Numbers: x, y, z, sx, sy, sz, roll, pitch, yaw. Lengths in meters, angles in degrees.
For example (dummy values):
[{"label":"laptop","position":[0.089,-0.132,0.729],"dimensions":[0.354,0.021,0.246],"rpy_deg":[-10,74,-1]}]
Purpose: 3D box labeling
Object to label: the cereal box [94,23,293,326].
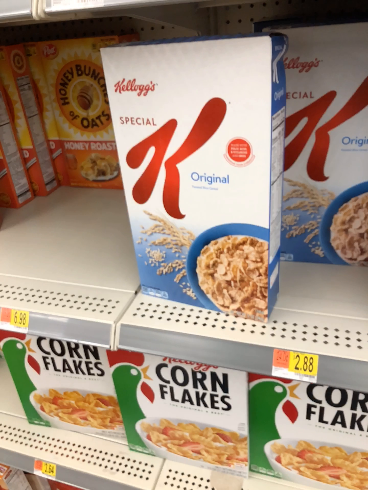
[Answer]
[{"label":"cereal box","position":[0.022,-0.076,0.502],"dimensions":[0.190,0.329,0.080],"rpy_deg":[9,32,25]}]
